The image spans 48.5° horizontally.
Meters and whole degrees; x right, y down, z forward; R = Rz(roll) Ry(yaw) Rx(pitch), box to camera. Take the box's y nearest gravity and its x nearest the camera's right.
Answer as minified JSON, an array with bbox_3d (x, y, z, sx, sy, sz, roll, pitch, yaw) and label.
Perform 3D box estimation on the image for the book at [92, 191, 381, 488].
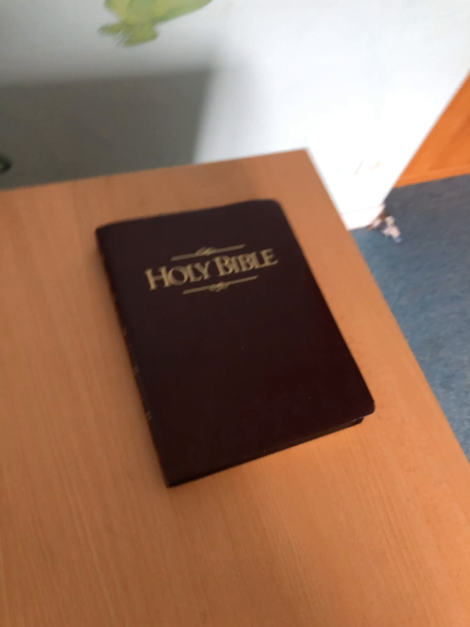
[{"bbox_3d":[-0.006,0.008,0.557,0.223,0.040,0.281,-13,67,-19],"label":"book"}]
